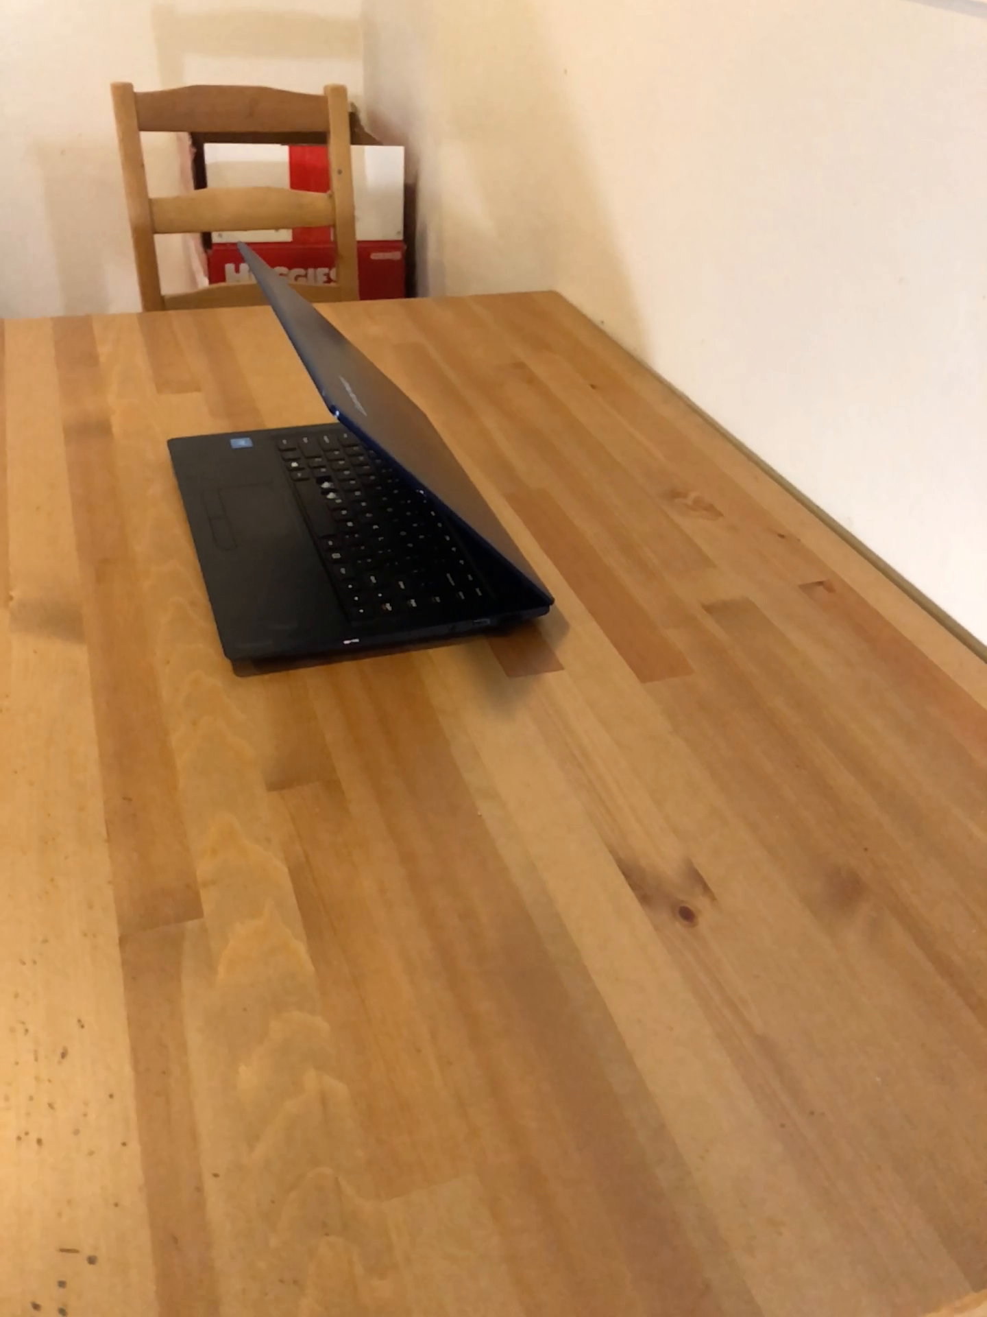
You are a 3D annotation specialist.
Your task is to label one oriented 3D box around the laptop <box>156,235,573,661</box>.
[{"bbox_3d":[-0.110,-0.174,0.798,0.215,0.161,0.319,-10,39,-17],"label":"laptop"}]
